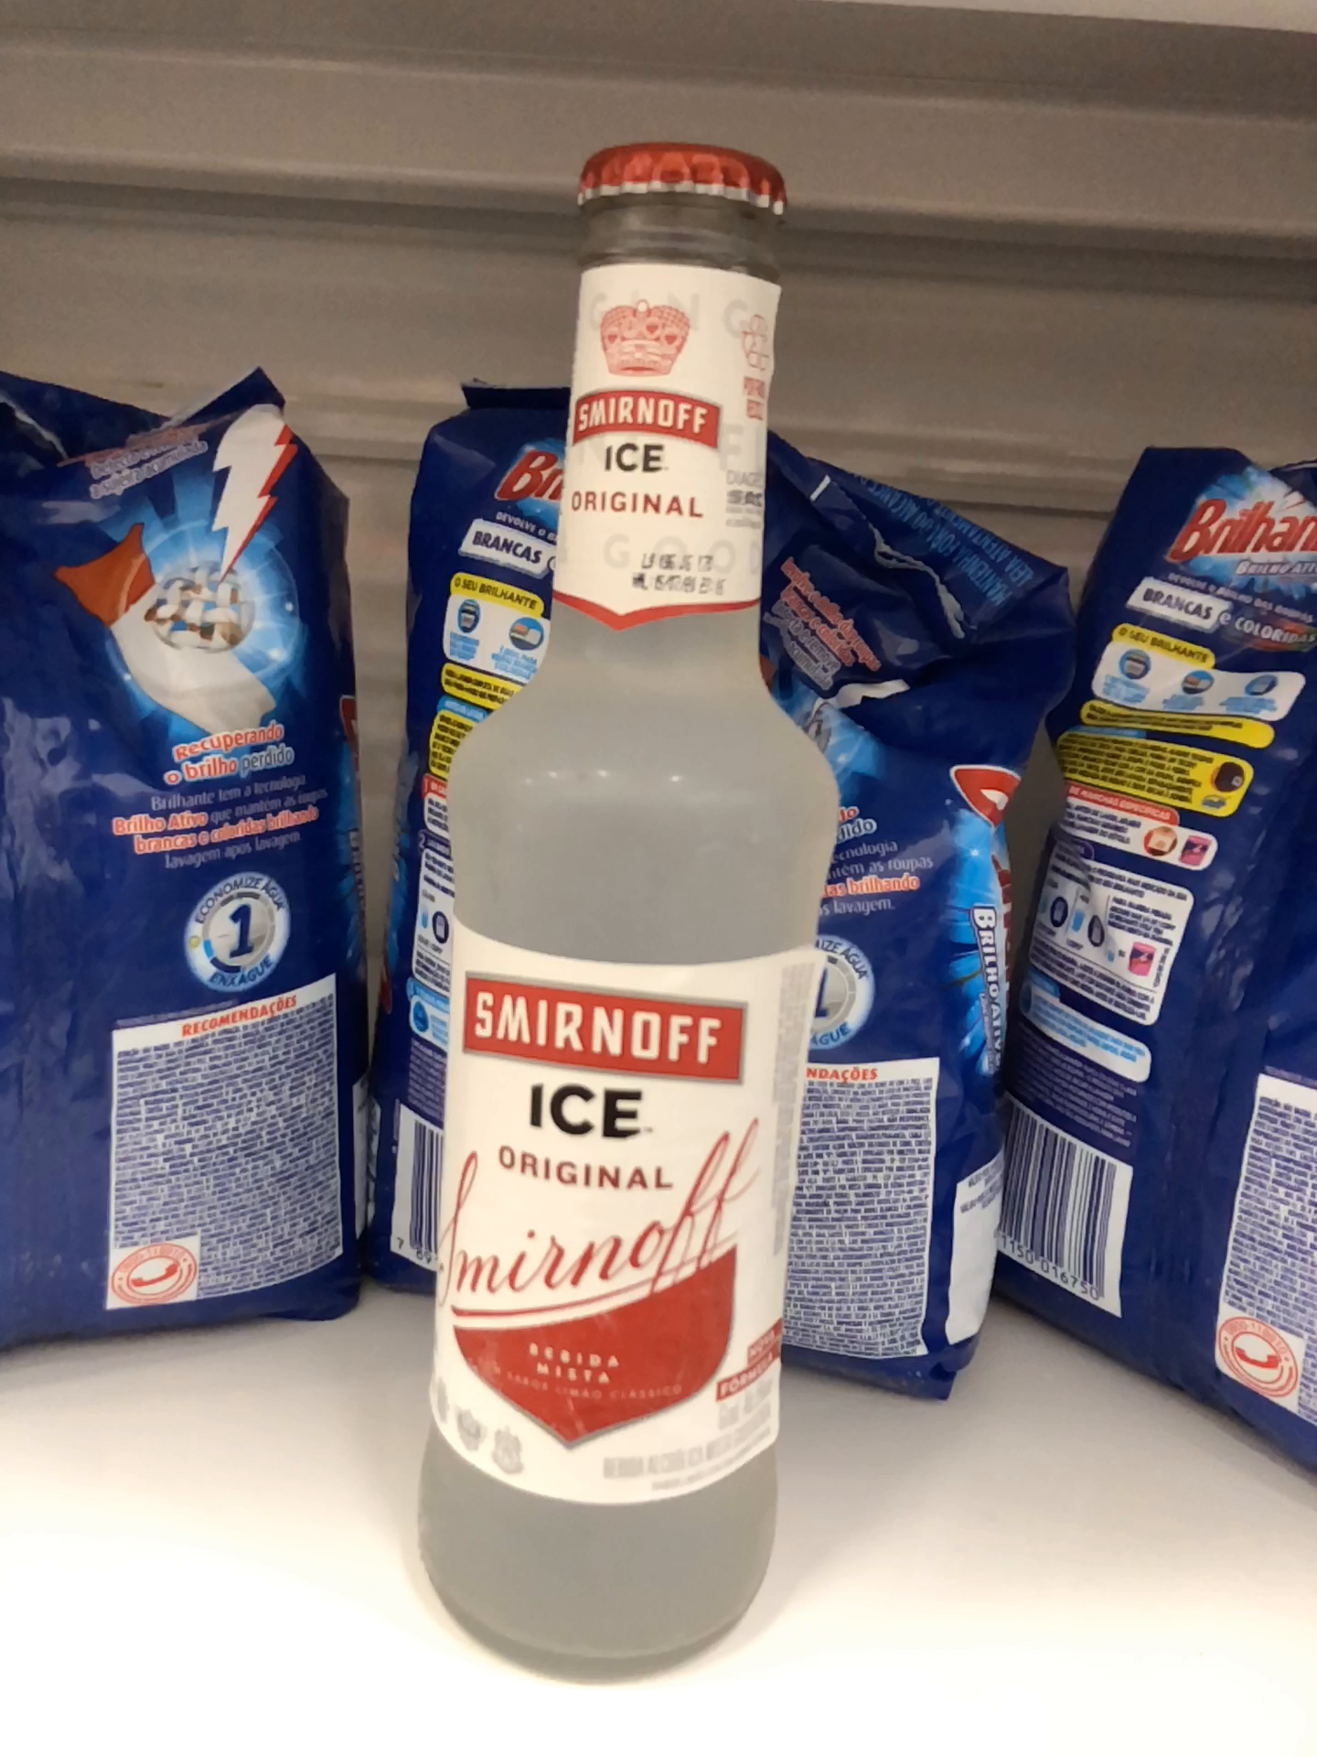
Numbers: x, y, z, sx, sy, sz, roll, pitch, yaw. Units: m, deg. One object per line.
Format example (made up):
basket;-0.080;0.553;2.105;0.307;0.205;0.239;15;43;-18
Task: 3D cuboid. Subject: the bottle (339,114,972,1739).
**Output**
bottle;0.000;0.008;0.219;0.070;0.209;0.060;6;12;11
